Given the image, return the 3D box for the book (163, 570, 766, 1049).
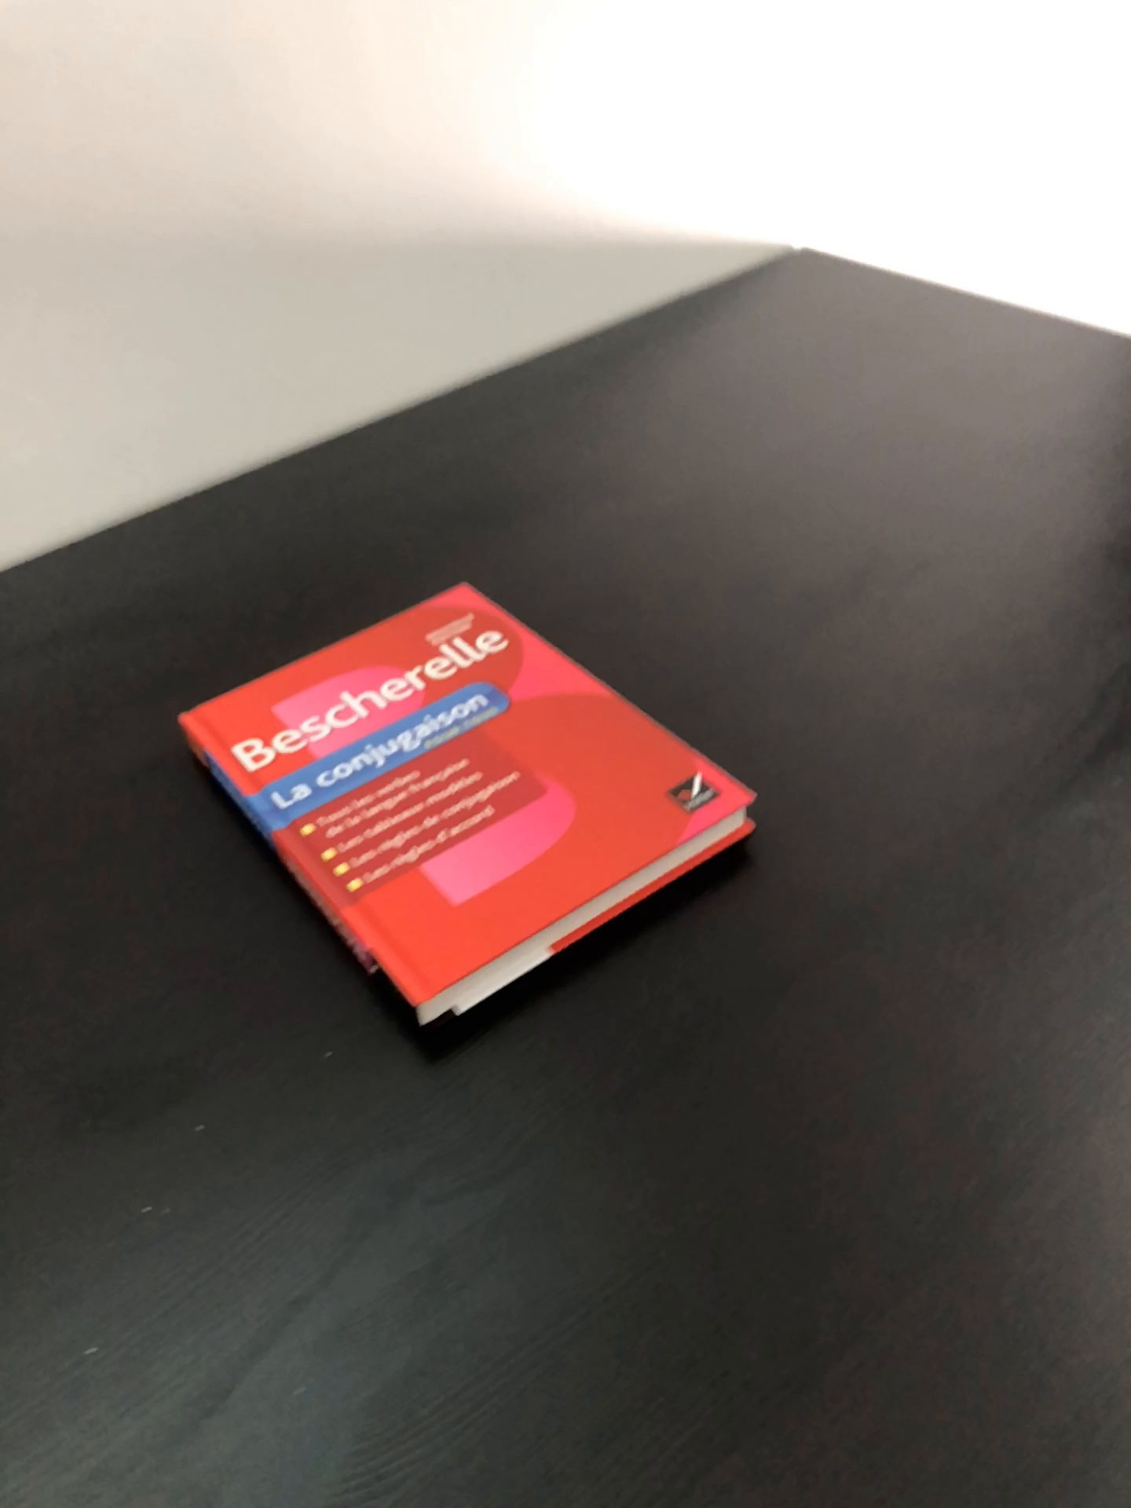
[{"bbox_3d":[-0.047,0.004,0.489,0.150,0.020,0.204,-29,43,-22],"label":"book"}]
